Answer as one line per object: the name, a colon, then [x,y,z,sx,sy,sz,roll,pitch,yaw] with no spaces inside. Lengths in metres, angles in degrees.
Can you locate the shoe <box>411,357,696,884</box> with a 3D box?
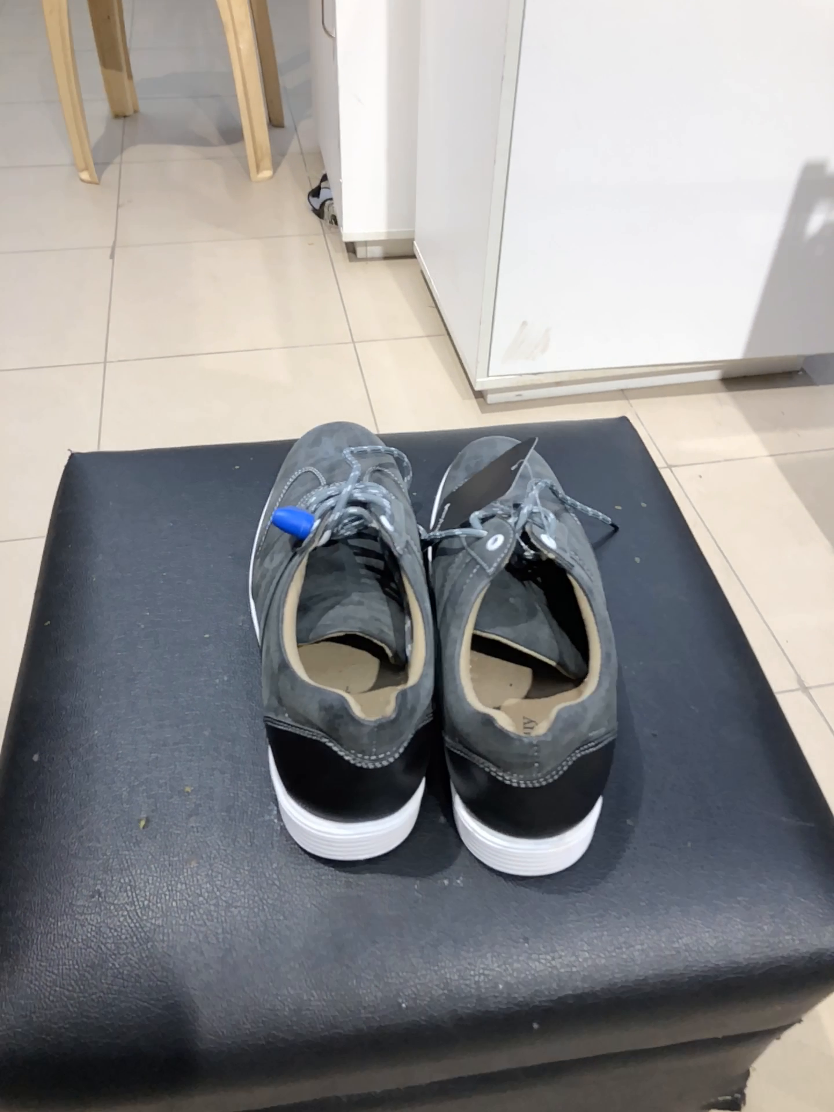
shoe: [0.053,0.017,0.456,0.100,0.106,0.250,2,44,0]

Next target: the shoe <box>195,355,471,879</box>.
shoe: [-0.043,0.015,0.460,0.100,0.106,0.250,-3,45,-5]
